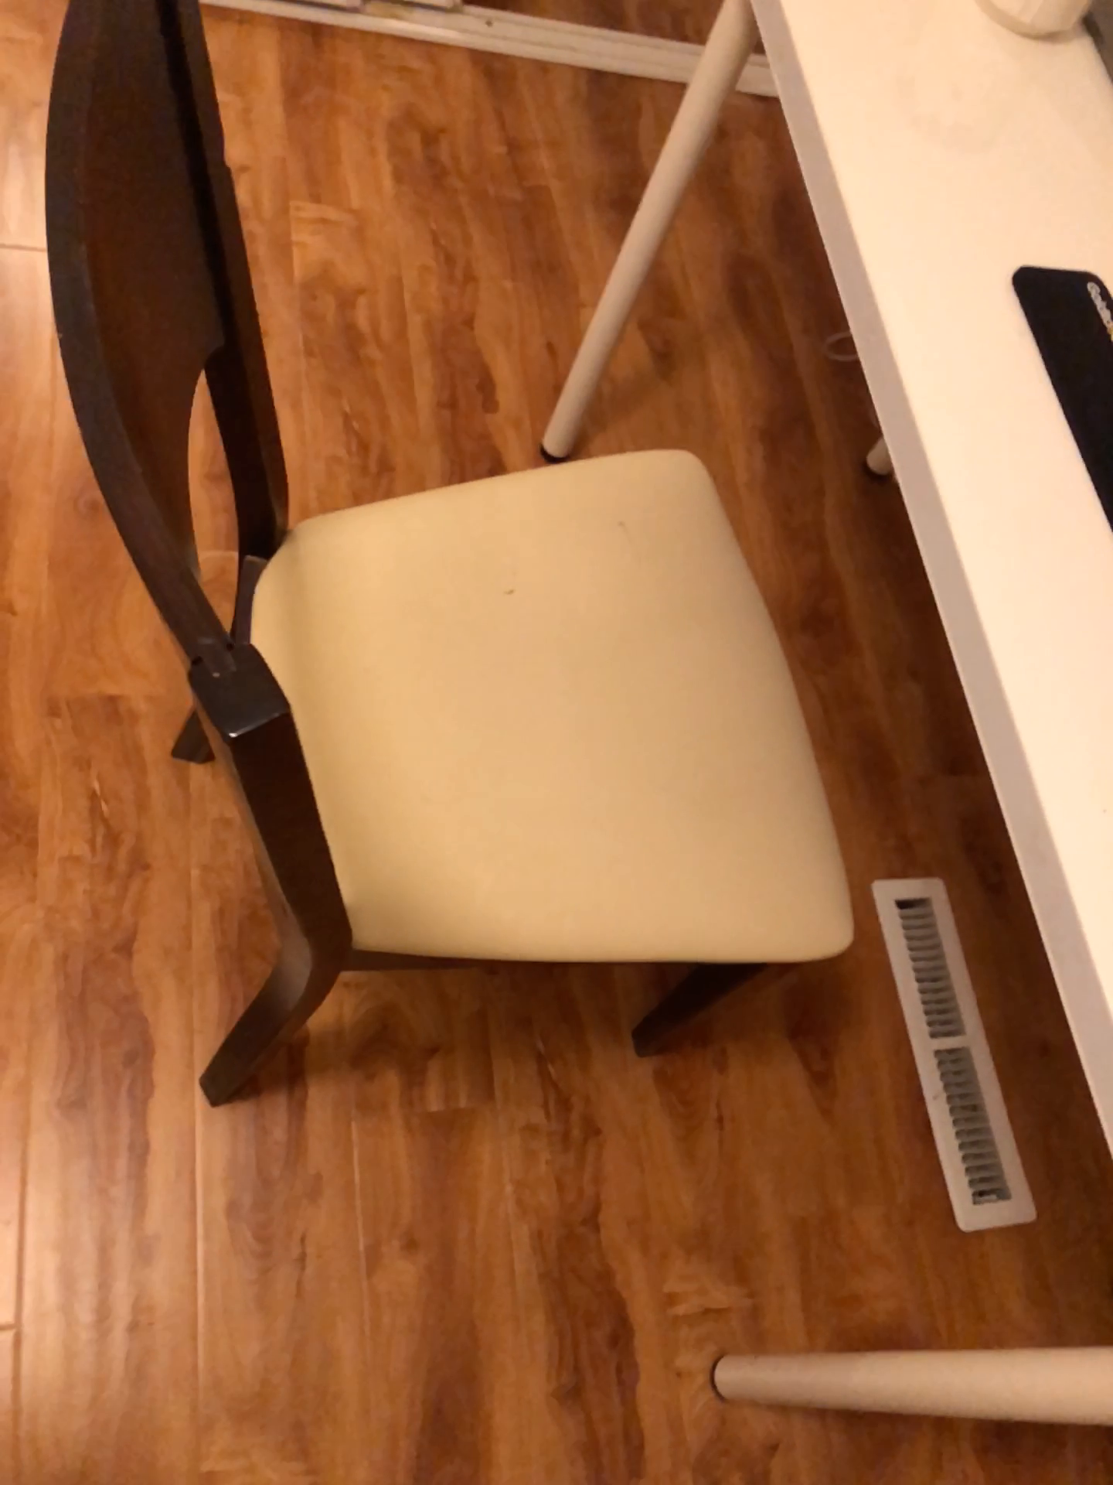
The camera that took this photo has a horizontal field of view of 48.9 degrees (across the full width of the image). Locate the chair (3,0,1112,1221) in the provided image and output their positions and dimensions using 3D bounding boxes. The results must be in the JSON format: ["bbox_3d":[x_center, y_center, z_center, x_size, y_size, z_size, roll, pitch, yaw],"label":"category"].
[{"bbox_3d":[-0.027,-0.035,0.862,0.511,0.847,0.531,-7,67,-18],"label":"chair"}]
